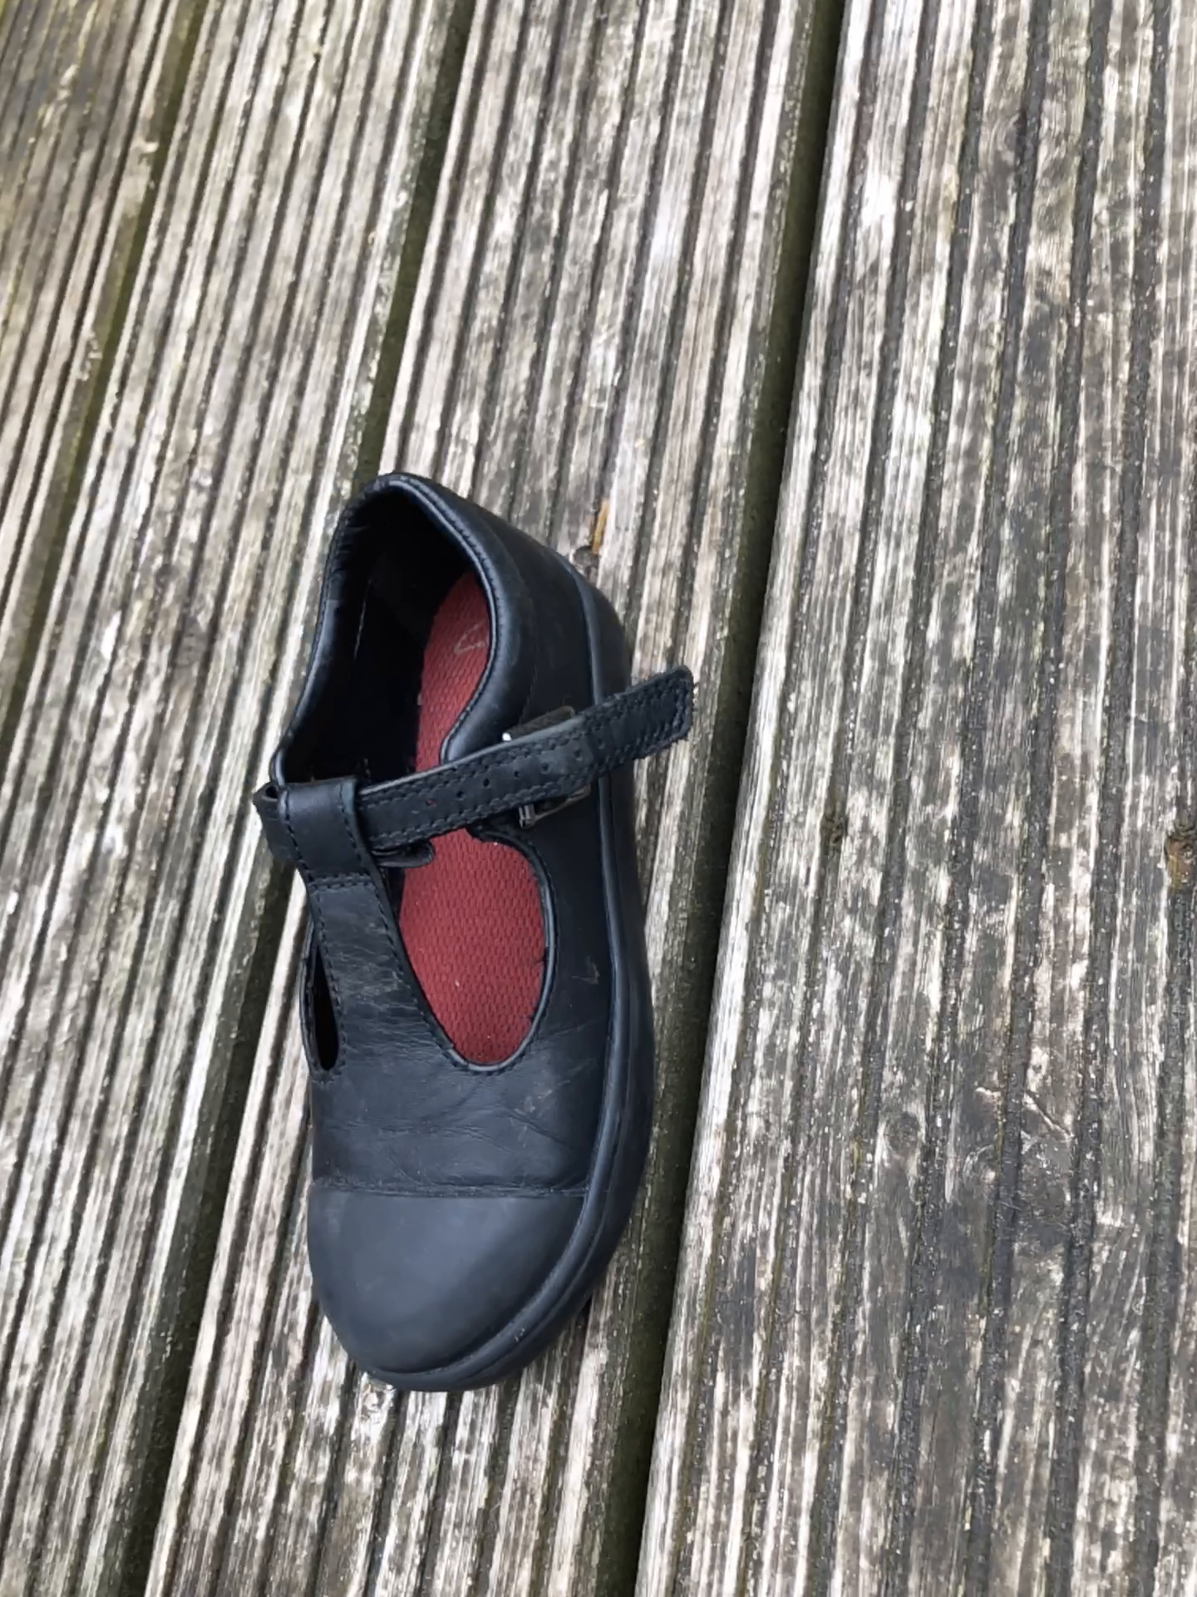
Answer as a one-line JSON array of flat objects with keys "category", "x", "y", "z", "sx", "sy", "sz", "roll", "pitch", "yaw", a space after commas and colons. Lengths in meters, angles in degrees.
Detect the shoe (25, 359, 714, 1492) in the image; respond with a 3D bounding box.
[{"category": "shoe", "x": -0.038, "y": 0.022, "z": 0.277, "sx": 0.080, "sy": 0.080, "sz": 0.193, "roll": -1, "pitch": 75, "yaw": 30}]
